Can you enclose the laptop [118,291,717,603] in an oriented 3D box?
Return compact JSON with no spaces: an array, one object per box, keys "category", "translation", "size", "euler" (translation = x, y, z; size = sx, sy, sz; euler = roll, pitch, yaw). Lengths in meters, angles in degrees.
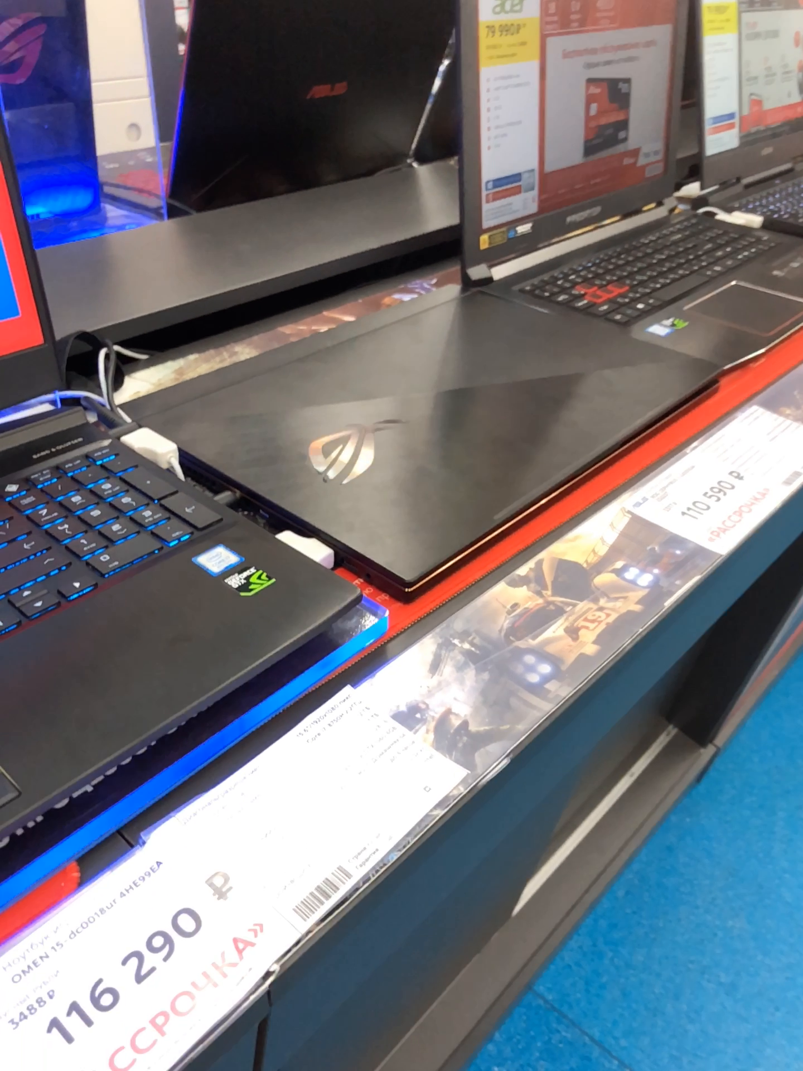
[{"category":"laptop","translation":[0.026,-0.093,0.619],"size":[0.254,0.006,0.349],"euler":[29,42,31]}]
